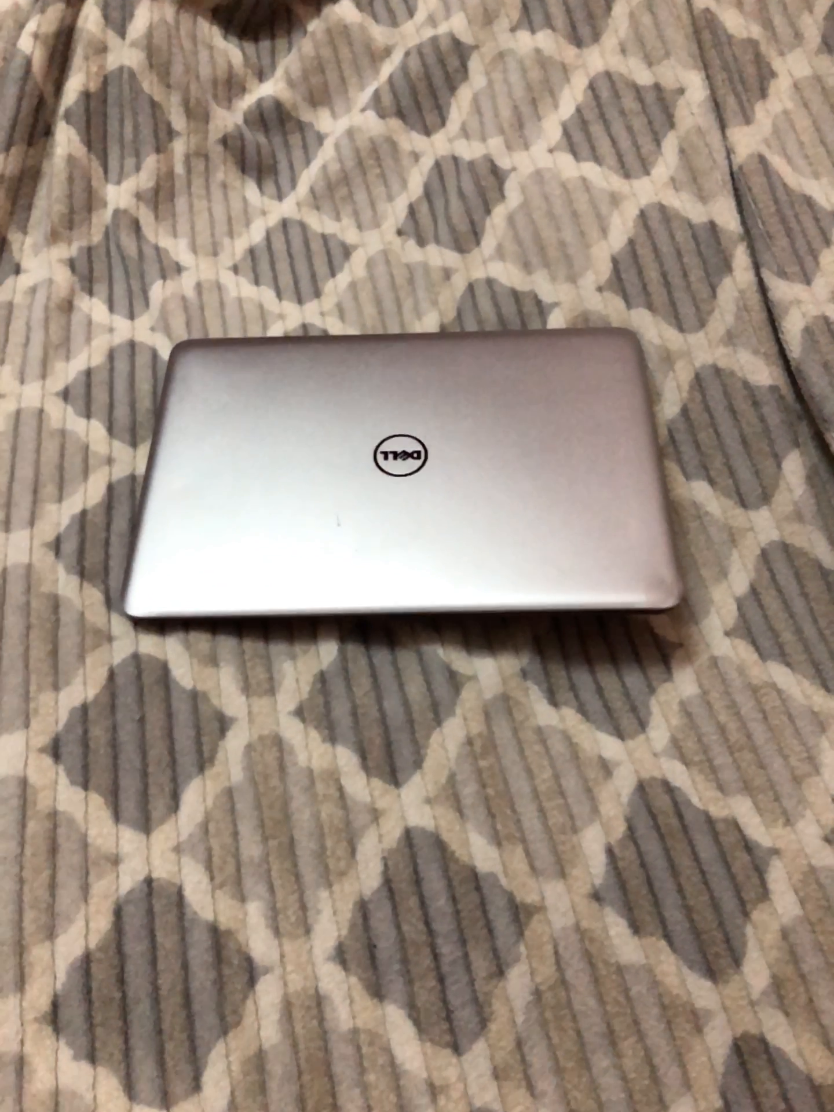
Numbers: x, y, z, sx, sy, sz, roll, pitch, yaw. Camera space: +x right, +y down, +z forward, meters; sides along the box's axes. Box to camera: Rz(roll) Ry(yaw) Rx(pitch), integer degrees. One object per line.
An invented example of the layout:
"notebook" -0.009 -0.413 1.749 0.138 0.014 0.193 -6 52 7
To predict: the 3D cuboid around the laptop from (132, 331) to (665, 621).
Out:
"laptop" -0.015 -0.069 0.688 0.359 0.007 0.252 -1 58 2
